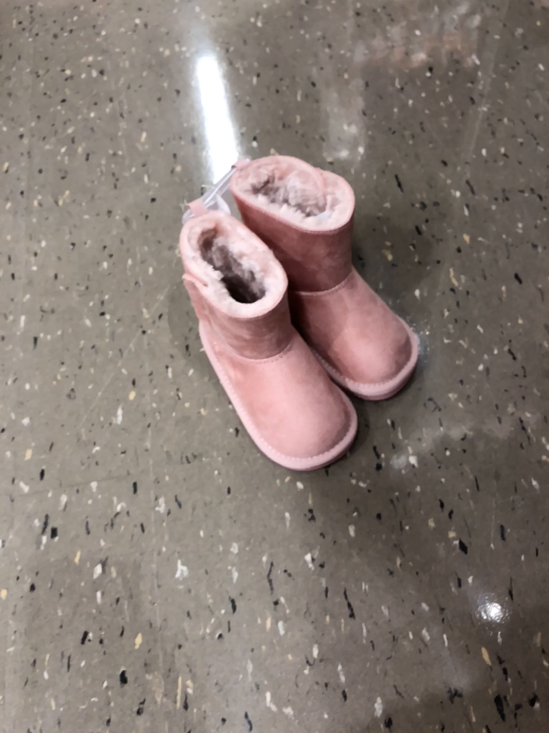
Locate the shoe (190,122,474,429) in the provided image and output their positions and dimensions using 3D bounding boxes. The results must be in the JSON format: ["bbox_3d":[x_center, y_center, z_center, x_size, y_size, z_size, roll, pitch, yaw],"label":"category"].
[{"bbox_3d":[0.040,-0.062,0.456,0.160,0.150,0.090,37,71,23],"label":"shoe"}]

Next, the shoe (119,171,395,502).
[{"bbox_3d":[-0.009,-0.015,0.432,0.090,0.150,0.160,-34,63,-12],"label":"shoe"}]
